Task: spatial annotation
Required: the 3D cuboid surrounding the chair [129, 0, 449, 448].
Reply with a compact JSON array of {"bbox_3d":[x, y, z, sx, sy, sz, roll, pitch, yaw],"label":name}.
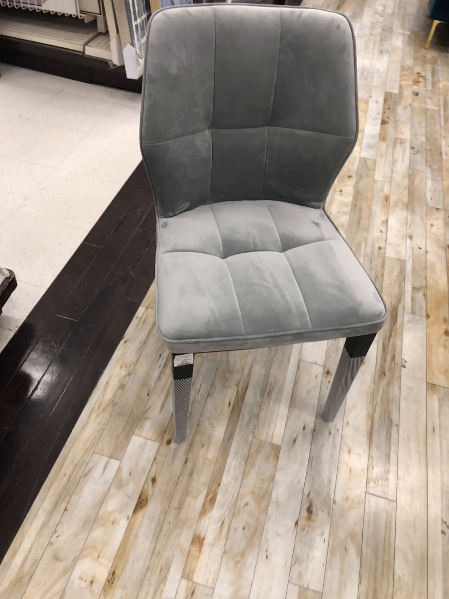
[{"bbox_3d":[0.084,-0.139,1.169,0.530,0.837,0.572,-5,48,-10],"label":"chair"}]
